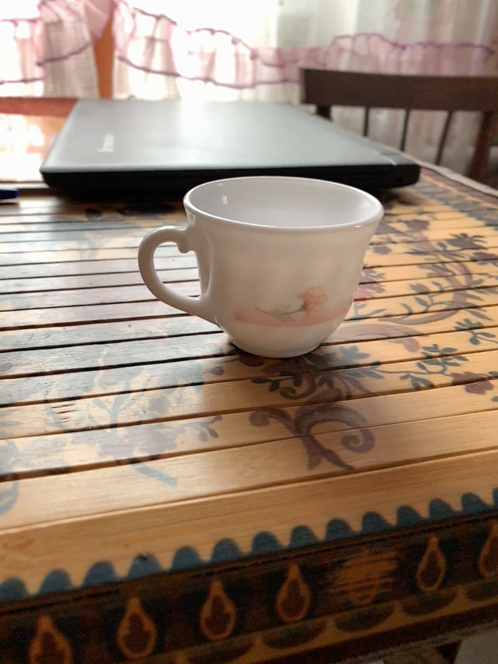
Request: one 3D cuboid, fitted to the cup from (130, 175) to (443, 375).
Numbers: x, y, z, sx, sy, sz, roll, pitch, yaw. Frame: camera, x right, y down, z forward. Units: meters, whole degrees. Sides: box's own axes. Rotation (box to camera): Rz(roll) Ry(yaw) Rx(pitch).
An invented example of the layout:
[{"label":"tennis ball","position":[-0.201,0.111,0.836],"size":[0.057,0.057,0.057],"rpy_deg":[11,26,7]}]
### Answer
[{"label":"cup","position":[0.006,-0.023,0.170],"size":[0.080,0.039,0.068],"rpy_deg":[-2,29,-8]}]
